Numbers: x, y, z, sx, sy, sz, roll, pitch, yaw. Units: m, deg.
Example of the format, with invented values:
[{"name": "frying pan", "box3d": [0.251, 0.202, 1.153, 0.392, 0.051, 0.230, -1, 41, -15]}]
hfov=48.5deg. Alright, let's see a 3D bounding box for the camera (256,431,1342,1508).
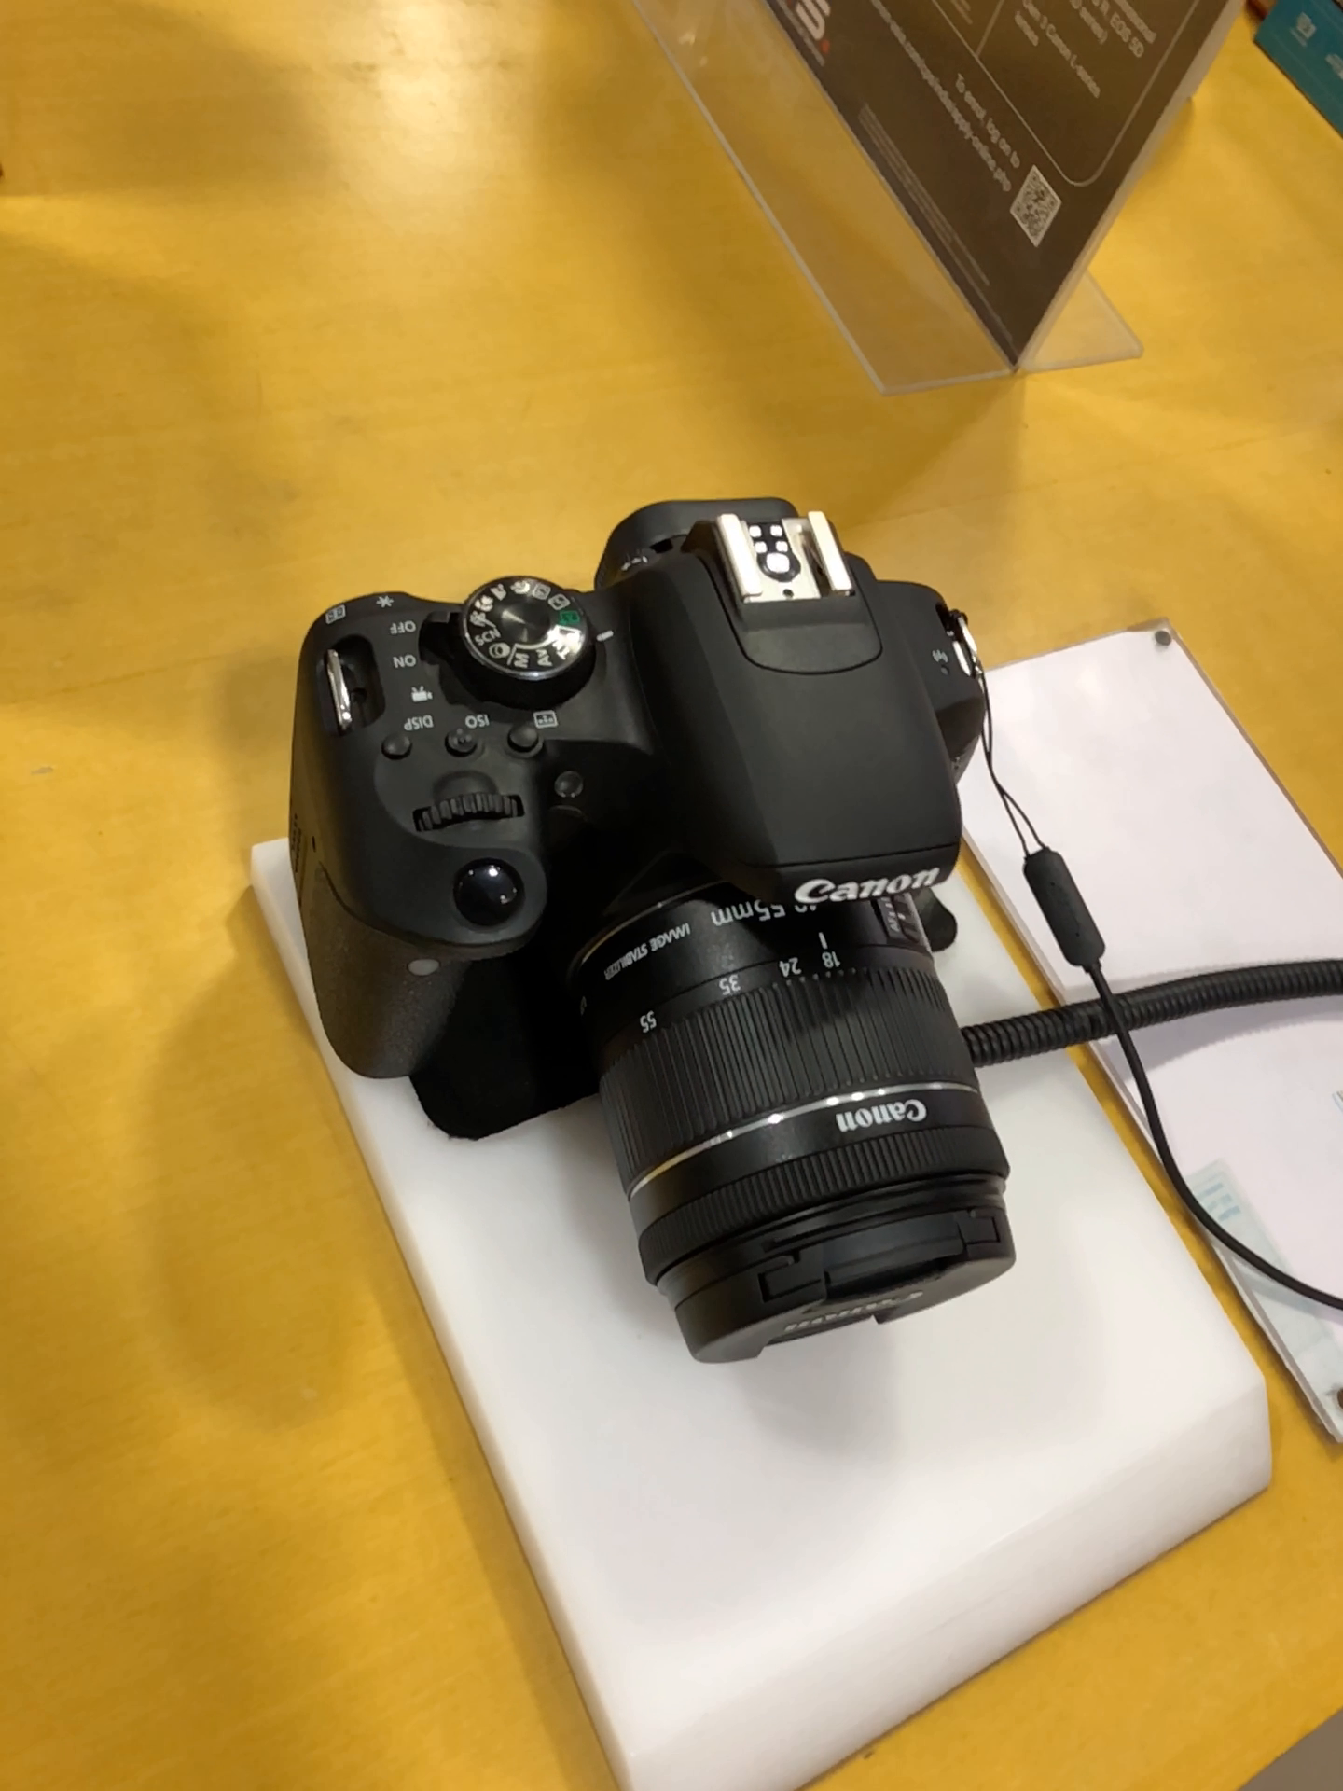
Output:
[{"name": "camera", "box3d": [0.008, 0.008, 0.238, 0.120, 0.090, 0.130, -8, 64, -22]}]
